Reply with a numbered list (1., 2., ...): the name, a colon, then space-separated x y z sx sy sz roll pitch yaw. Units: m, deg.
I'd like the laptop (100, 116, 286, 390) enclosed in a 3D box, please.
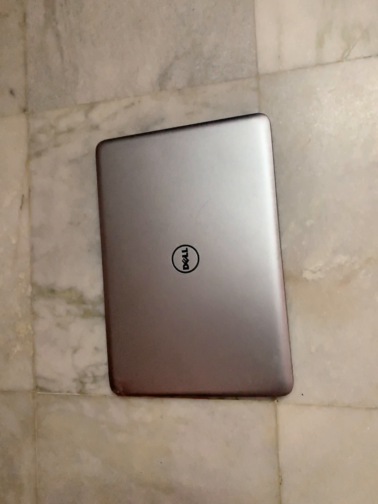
1. laptop: -0.003 0.010 0.525 0.234 0.001 0.351 -5 88 14
